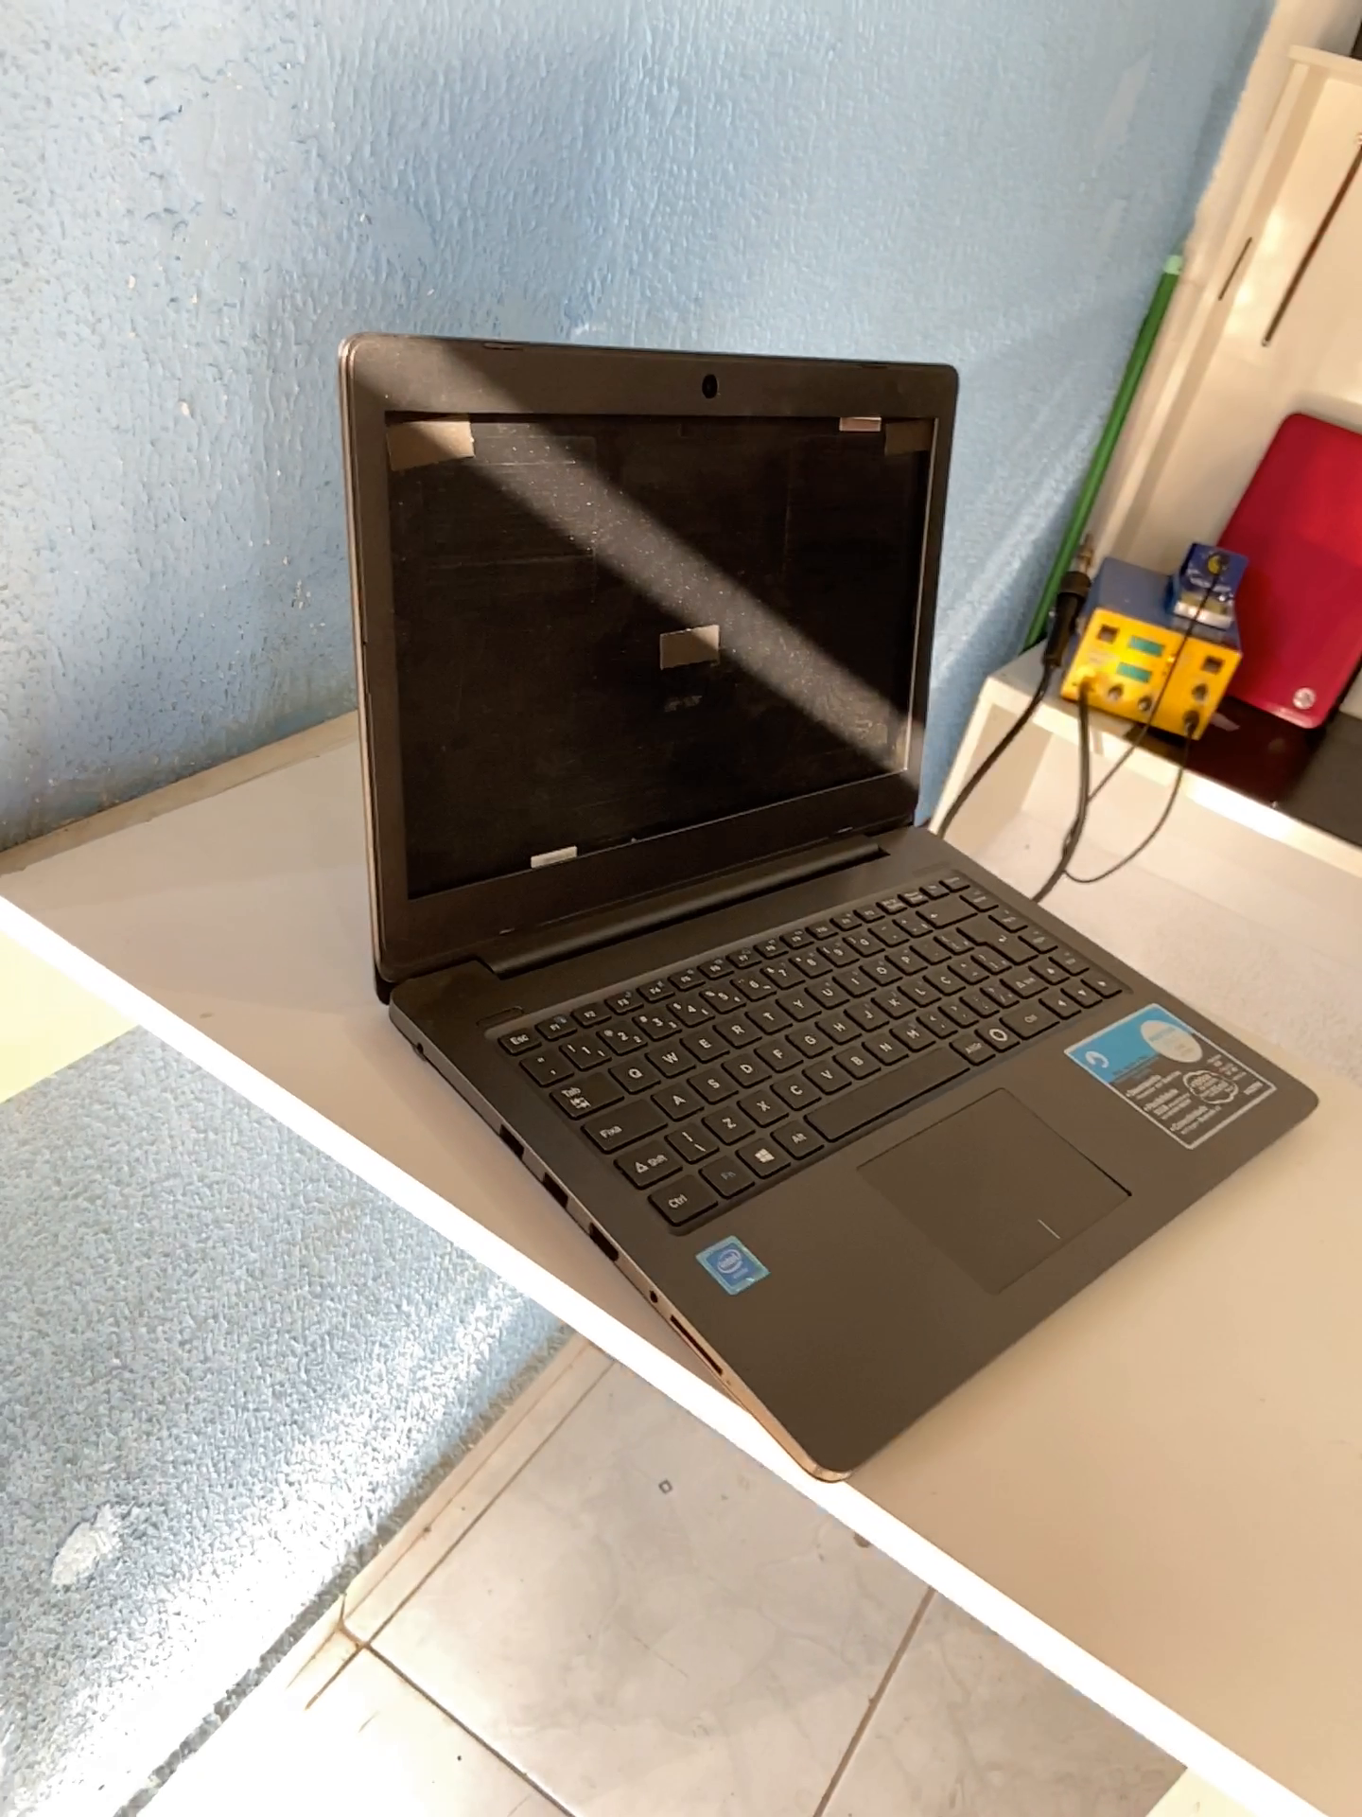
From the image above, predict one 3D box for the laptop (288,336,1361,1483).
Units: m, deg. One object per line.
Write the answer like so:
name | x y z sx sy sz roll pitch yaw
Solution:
laptop | 0.086 -0.050 0.537 0.339 0.214 0.310 -17 46 -41
